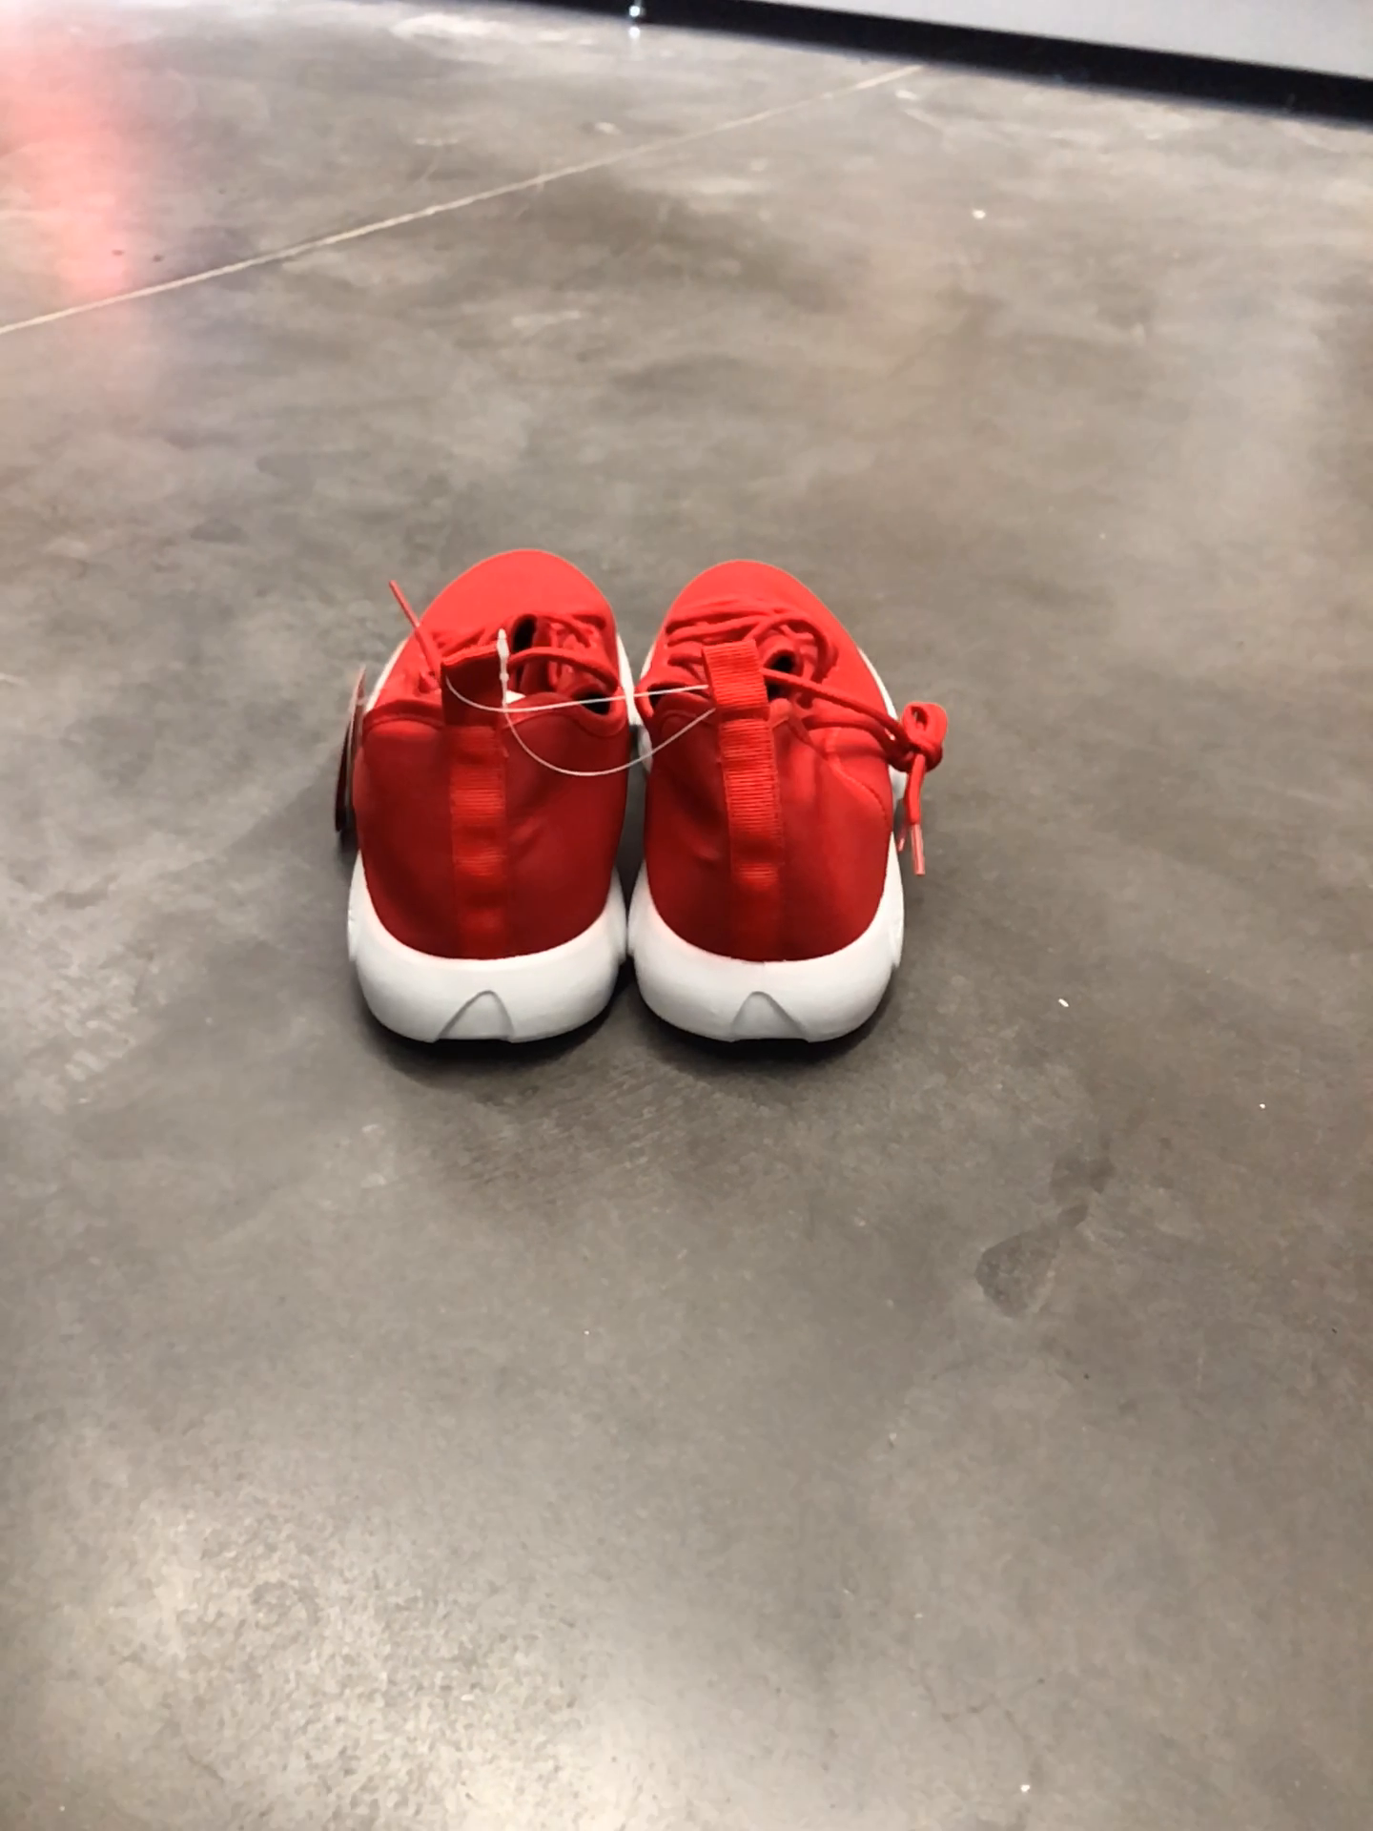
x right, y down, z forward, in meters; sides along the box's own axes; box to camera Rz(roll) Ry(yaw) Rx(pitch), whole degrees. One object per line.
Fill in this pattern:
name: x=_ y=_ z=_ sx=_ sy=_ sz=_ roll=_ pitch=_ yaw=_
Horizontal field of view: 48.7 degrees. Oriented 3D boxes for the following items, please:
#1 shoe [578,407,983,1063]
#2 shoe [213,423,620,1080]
shoe: x=0.019 y=-0.074 z=0.503 sx=0.100 sy=0.099 sz=0.251 roll=0 pitch=38 yaw=-2
shoe: x=-0.074 y=-0.070 z=0.506 sx=0.100 sy=0.099 sz=0.251 roll=0 pitch=38 yaw=-3
